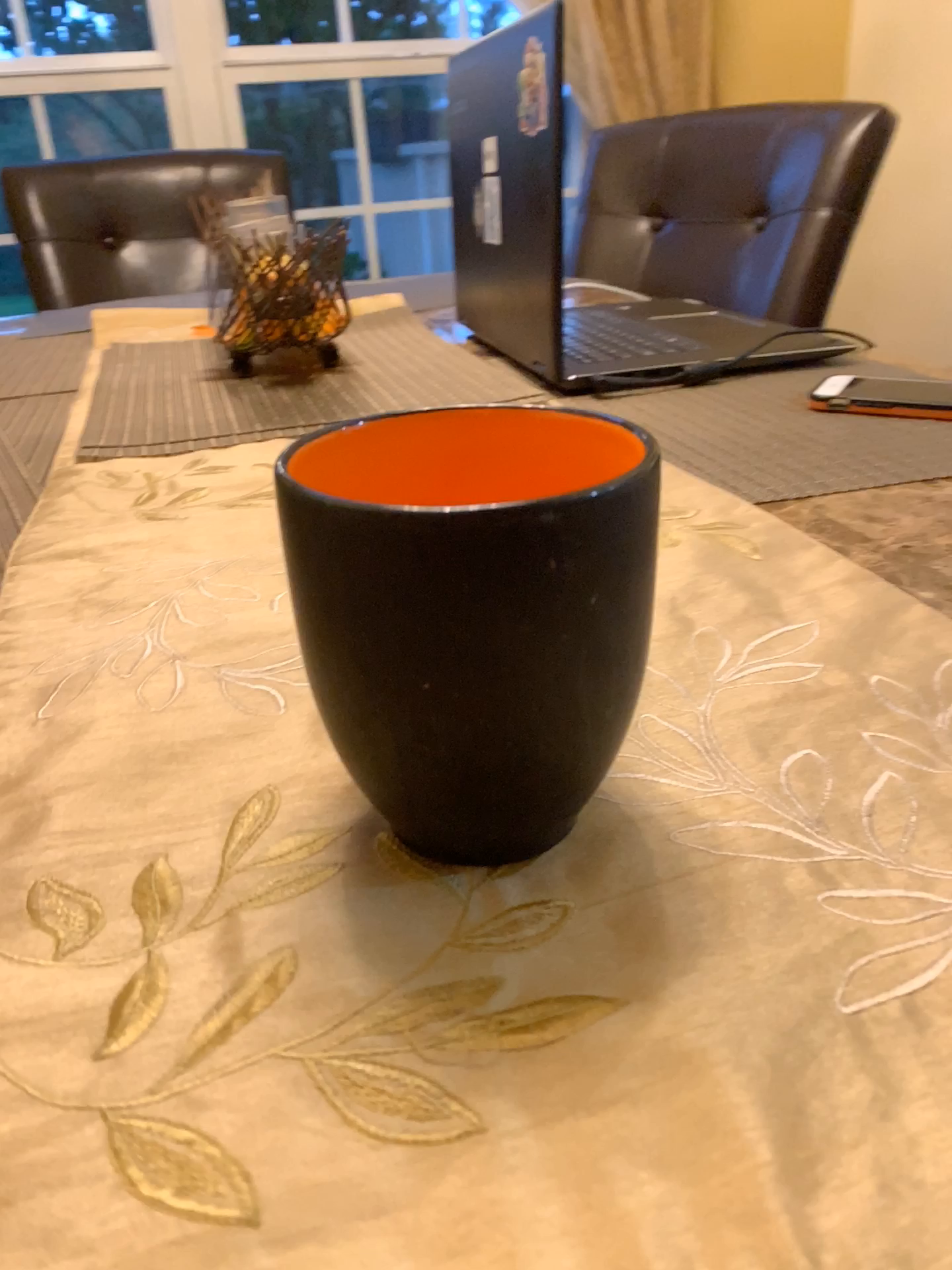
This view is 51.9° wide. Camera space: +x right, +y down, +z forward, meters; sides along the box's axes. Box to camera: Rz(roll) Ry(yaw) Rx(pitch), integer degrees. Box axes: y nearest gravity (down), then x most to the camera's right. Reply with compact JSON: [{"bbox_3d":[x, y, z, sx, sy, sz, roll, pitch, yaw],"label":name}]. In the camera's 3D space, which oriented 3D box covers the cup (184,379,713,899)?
[{"bbox_3d":[0.007,-0.013,0.273,0.099,0.087,0.133,5,27,18],"label":"cup"}]
